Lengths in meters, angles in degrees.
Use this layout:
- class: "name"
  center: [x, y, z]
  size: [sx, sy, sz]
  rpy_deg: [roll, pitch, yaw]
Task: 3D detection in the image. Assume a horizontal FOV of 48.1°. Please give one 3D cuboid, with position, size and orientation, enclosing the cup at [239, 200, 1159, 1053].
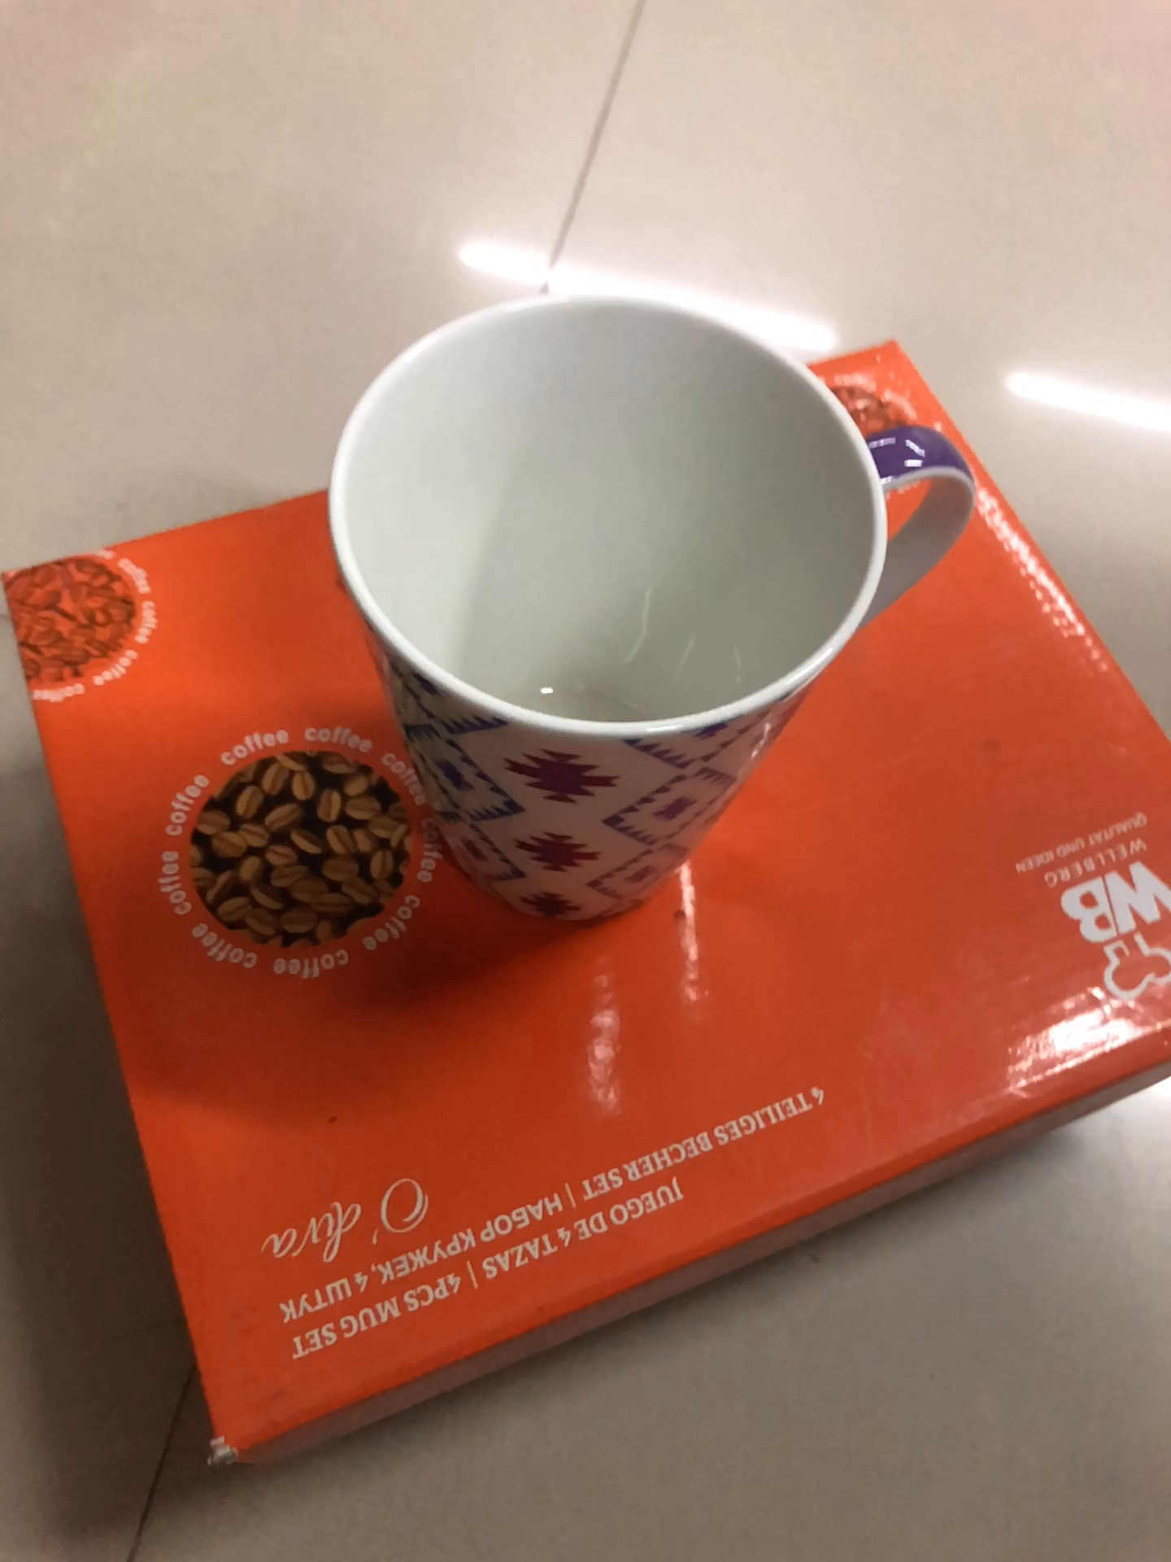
- class: "cup"
  center: [0.013, -0.022, 0.235]
  size: [0.110, 0.100, 0.080]
  rpy_deg: [-22, 68, -14]
